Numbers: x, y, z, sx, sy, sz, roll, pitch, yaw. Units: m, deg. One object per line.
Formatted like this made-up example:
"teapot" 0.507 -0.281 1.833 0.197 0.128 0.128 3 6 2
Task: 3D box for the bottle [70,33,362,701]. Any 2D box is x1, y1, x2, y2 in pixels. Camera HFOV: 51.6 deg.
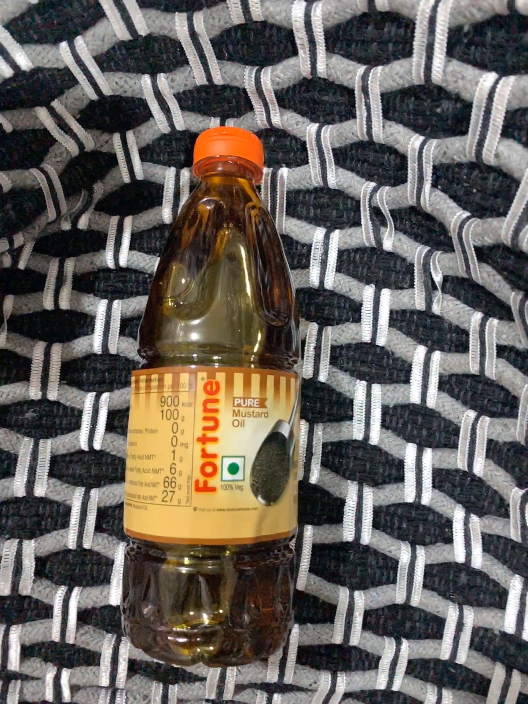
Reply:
"bottle" -0.017 0.003 0.232 0.080 0.080 0.220 -11 73 46
